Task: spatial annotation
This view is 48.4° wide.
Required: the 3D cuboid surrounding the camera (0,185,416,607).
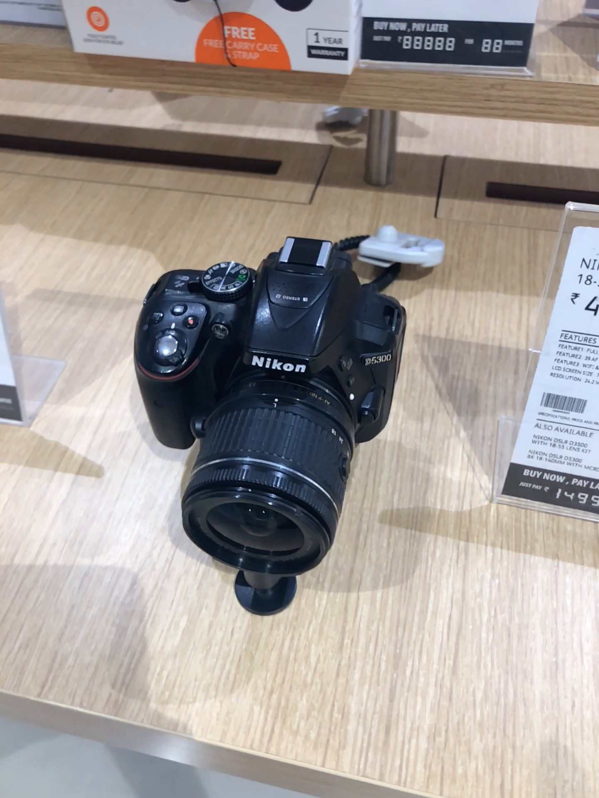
[{"bbox_3d":[-0.028,-0.012,0.278,0.130,0.070,0.151,9,50,10],"label":"camera"}]
